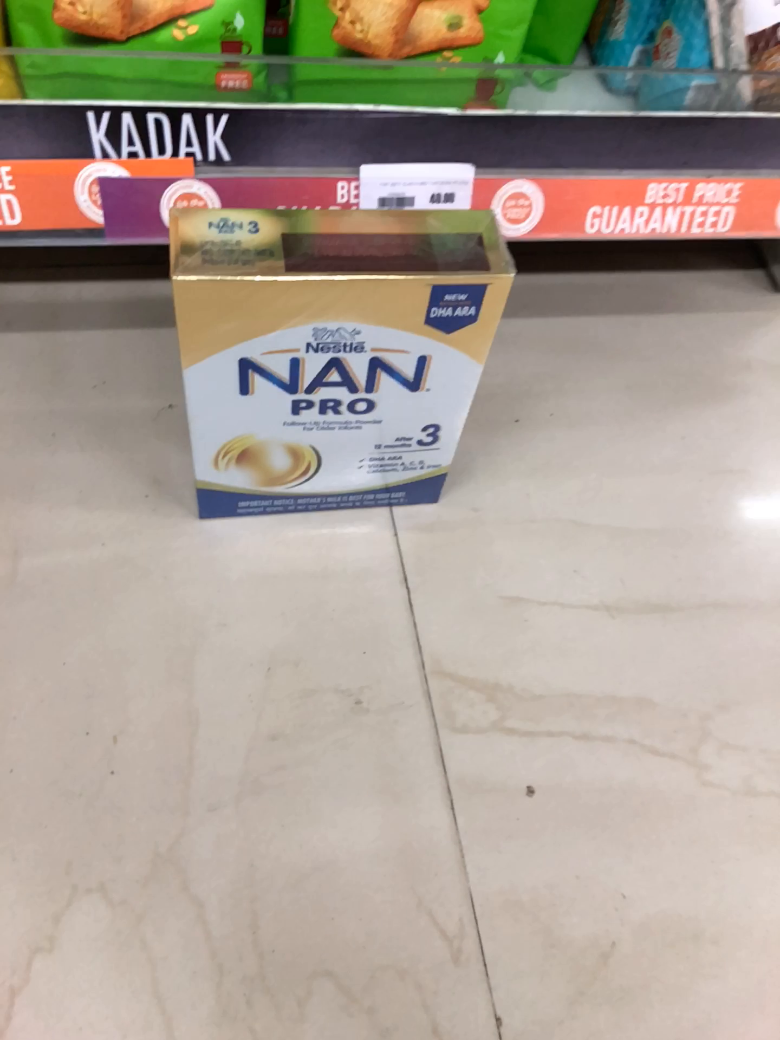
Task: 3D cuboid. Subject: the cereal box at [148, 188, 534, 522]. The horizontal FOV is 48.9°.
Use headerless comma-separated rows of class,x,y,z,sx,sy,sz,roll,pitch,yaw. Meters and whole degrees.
cereal box,-0.032,-0.075,0.446,0.160,0.189,0.050,-4,59,-11
